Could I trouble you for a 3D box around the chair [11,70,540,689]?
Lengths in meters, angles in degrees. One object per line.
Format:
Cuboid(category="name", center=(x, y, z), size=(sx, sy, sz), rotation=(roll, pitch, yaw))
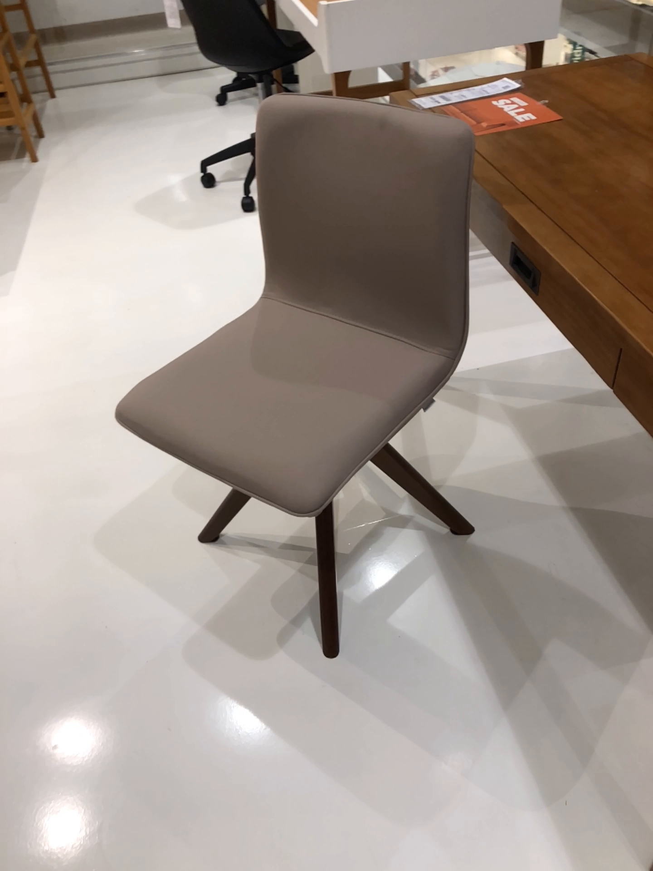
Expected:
Cuboid(category="chair", center=(-0.029, -0.106, 1.287), size=(0.542, 0.834, 0.532), rotation=(23, 49, 29))
